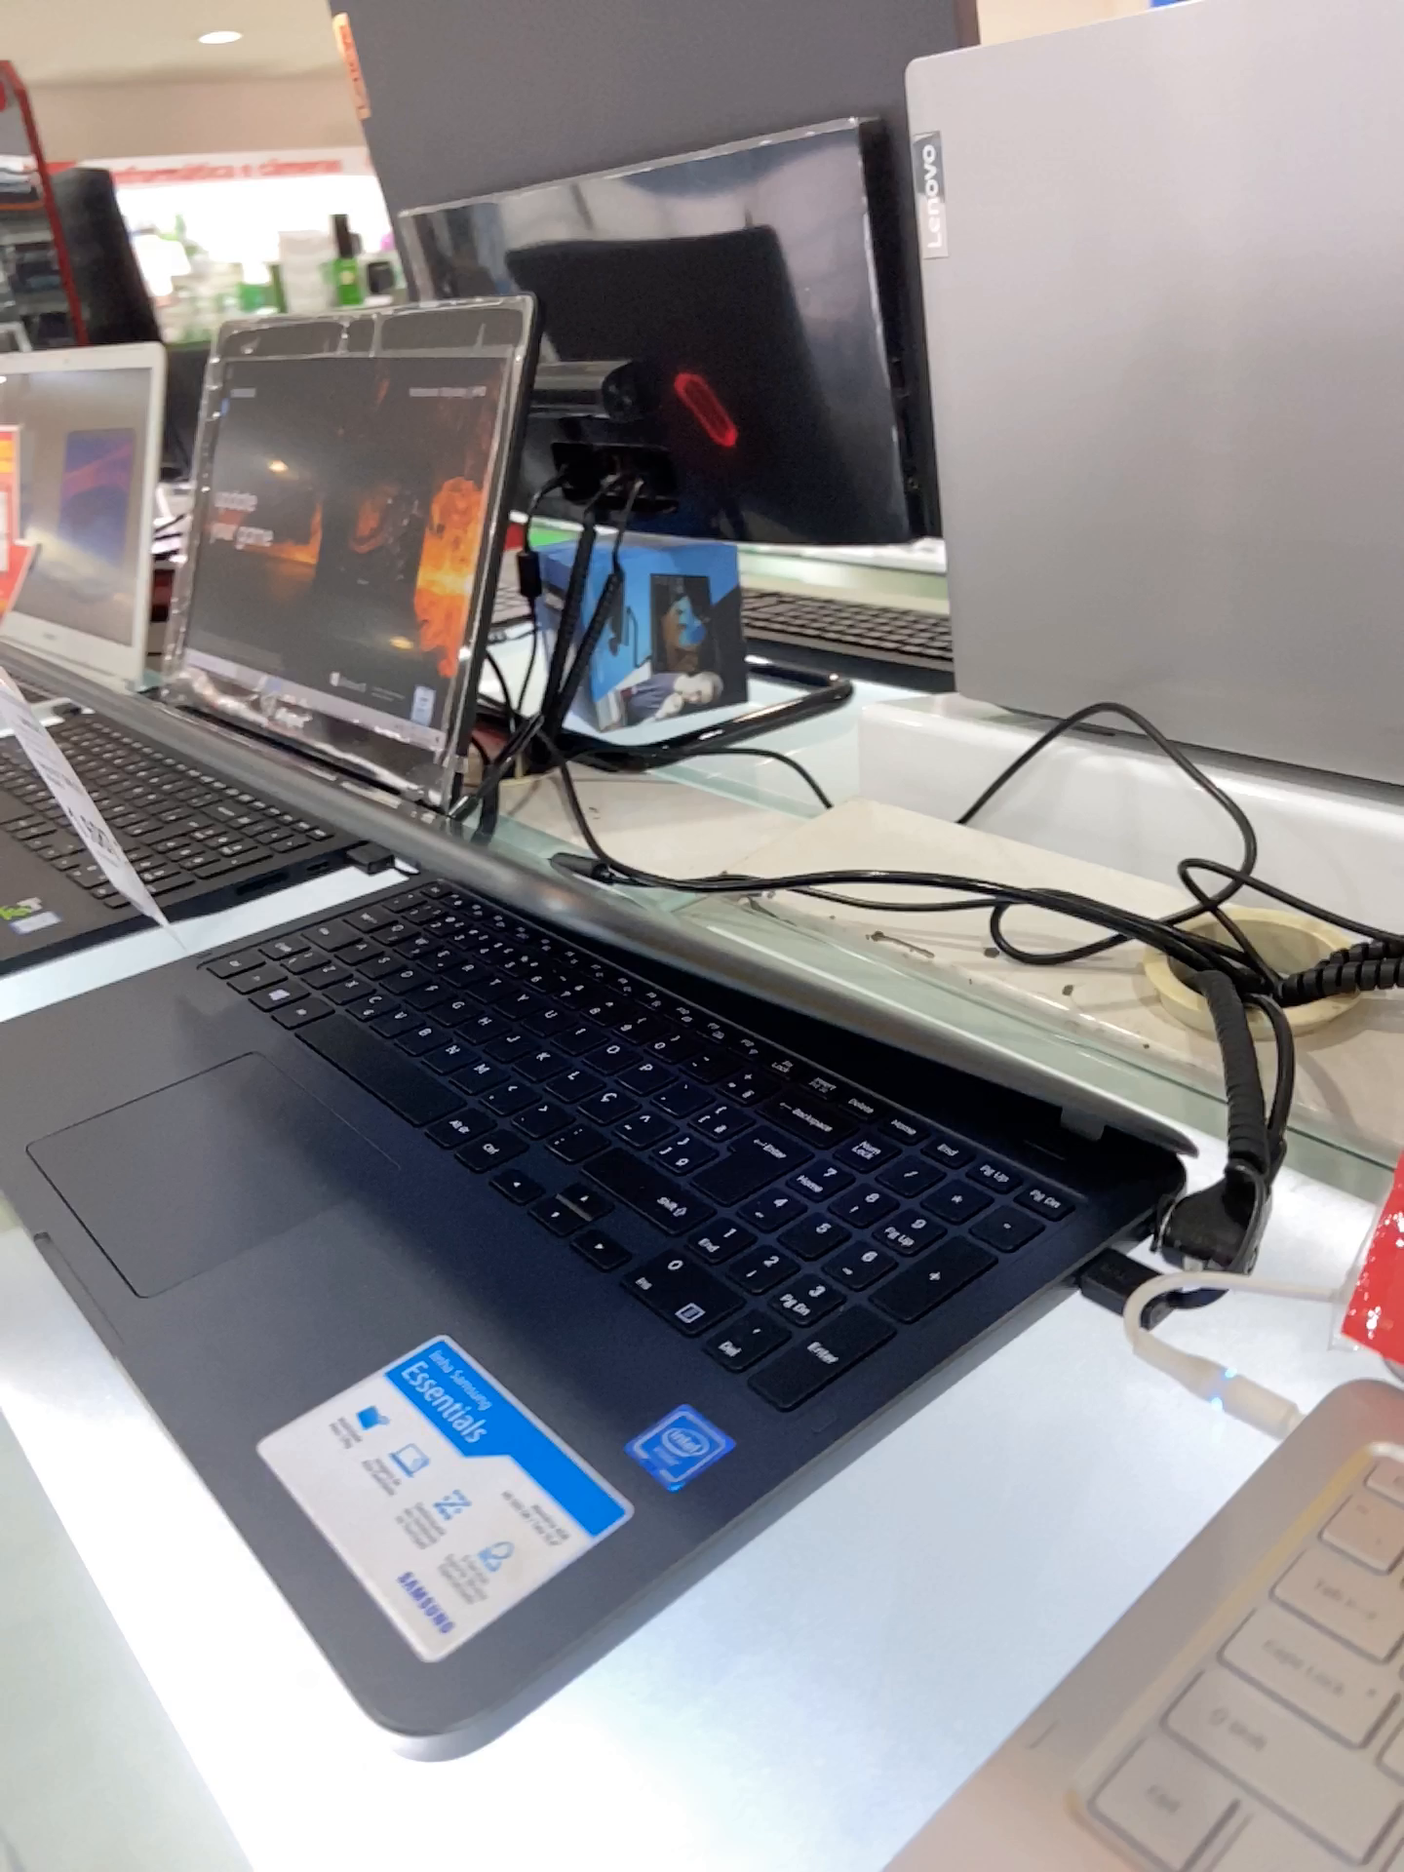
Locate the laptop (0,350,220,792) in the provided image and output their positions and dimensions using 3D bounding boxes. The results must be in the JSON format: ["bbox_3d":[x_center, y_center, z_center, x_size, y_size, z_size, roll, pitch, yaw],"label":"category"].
[{"bbox_3d":[-0.664,-0.321,1.178,0.343,0.246,0.330,-23,32,-33],"label":"laptop"}]

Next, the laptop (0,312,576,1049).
[{"bbox_3d":[-0.325,-0.191,0.769,0.372,0.223,0.395,-26,32,-36],"label":"laptop"}]

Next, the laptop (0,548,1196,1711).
[{"bbox_3d":[-0.085,-0.010,0.433,0.235,0.140,0.368,-24,30,-34],"label":"laptop"}]

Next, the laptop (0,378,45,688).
[{"bbox_3d":[-0.896,-0.414,1.423,0.336,0.201,0.304,-24,32,-33],"label":"laptop"}]

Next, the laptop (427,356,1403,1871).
[{"bbox_3d":[0.205,0.065,0.140,0.296,0.177,0.316,-24,29,-33],"label":"laptop"}]
